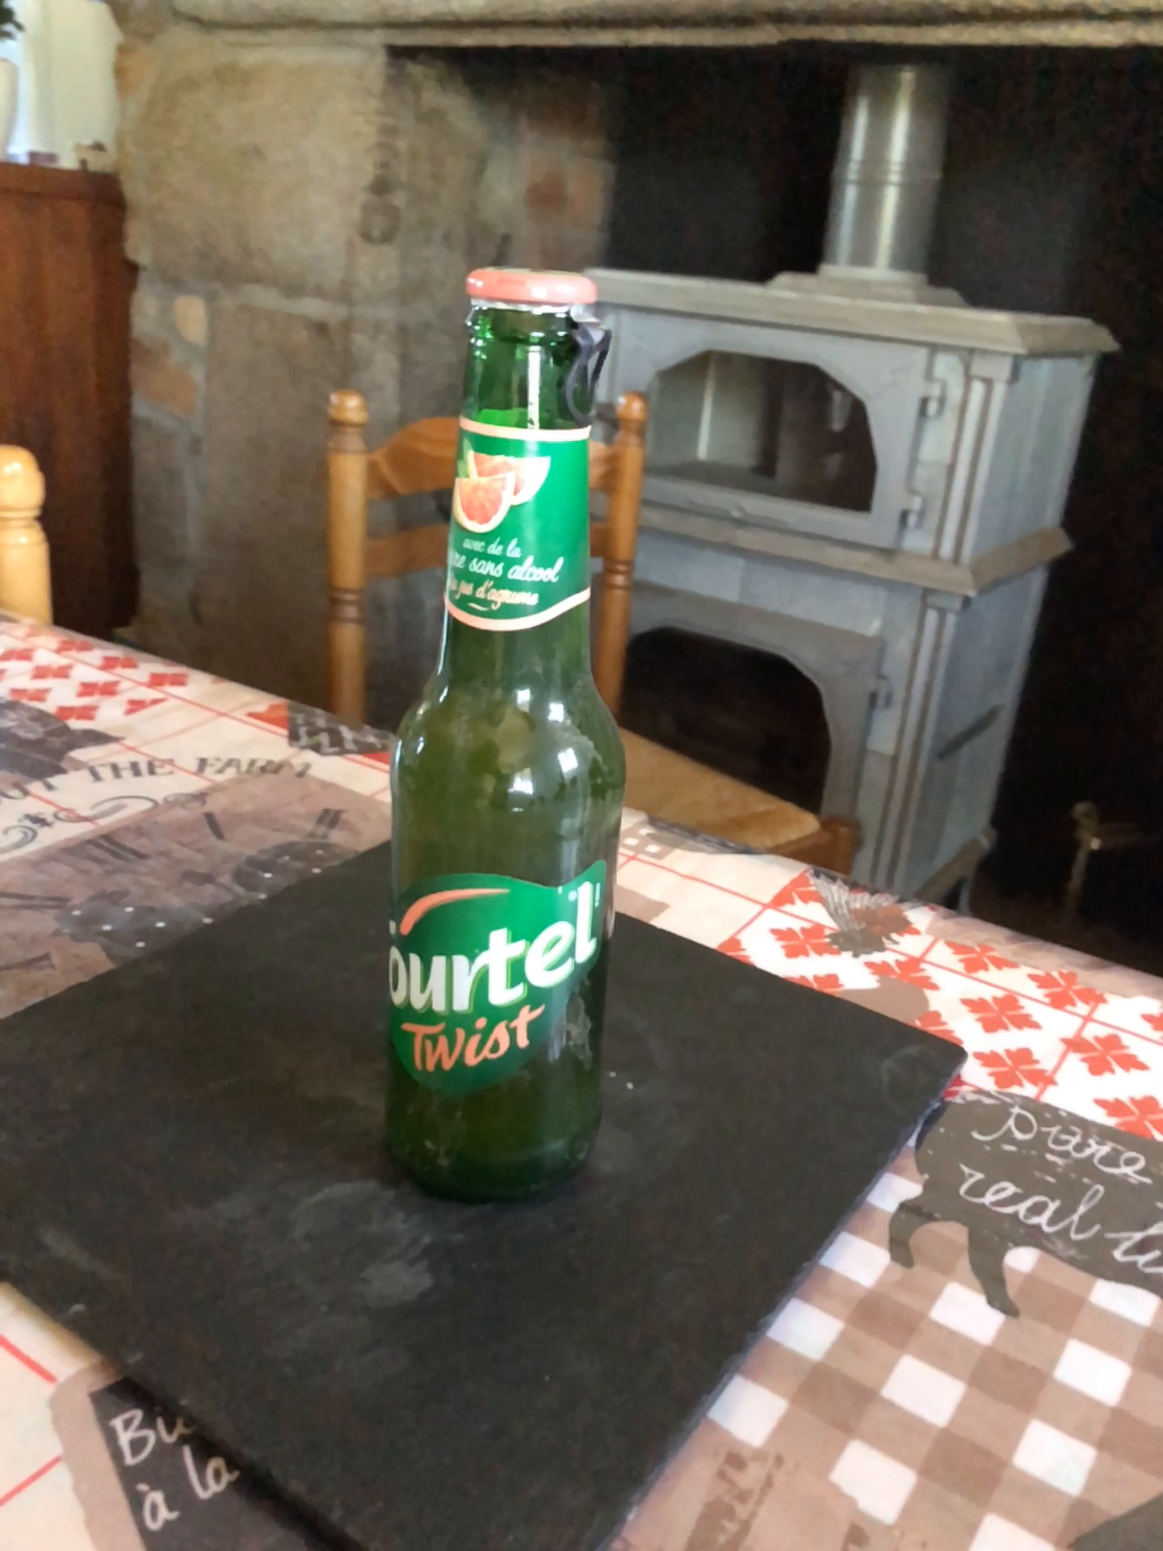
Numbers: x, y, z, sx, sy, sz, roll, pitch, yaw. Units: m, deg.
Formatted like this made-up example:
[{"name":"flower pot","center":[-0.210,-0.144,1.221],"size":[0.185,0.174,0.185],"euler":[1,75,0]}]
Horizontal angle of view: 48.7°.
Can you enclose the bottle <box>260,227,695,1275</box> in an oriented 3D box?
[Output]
[{"name":"bottle","center":[-0.028,-0.003,0.307],"size":[0.070,0.229,0.060],"euler":[13,22,19]}]
